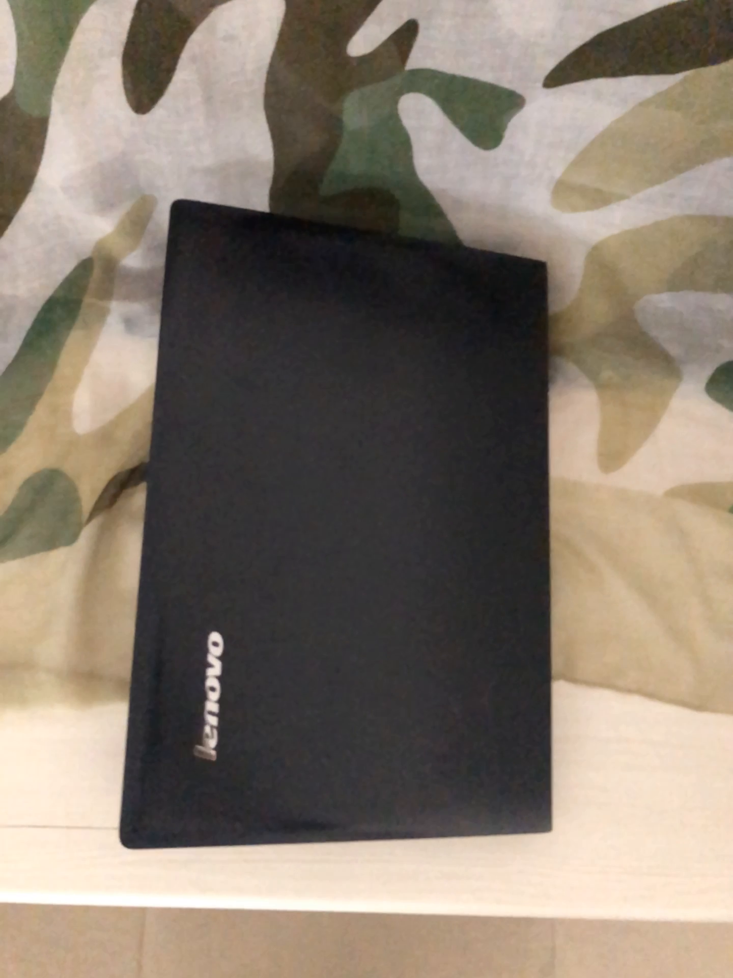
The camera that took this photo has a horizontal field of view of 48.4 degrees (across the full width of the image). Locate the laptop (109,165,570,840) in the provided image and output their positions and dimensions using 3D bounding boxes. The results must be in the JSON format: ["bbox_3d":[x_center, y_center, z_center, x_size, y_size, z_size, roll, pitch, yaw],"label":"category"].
[{"bbox_3d":[-0.004,0.005,0.507,0.249,0.060,0.385,4,79,-6],"label":"laptop"}]
